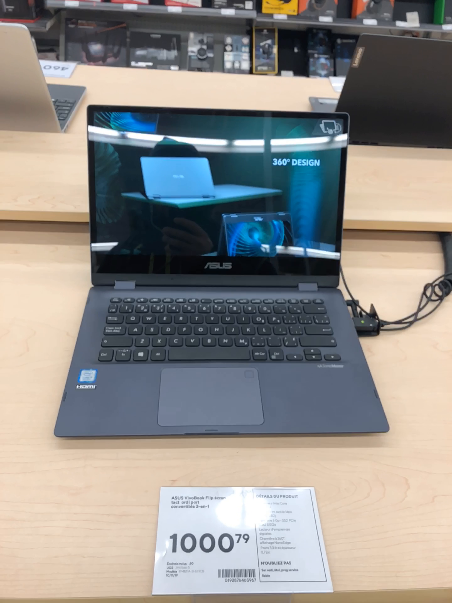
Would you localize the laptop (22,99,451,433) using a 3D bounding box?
[{"bbox_3d":[-0.005,-0.056,0.552,0.319,0.184,0.332,1,43,-4],"label":"laptop"}]
